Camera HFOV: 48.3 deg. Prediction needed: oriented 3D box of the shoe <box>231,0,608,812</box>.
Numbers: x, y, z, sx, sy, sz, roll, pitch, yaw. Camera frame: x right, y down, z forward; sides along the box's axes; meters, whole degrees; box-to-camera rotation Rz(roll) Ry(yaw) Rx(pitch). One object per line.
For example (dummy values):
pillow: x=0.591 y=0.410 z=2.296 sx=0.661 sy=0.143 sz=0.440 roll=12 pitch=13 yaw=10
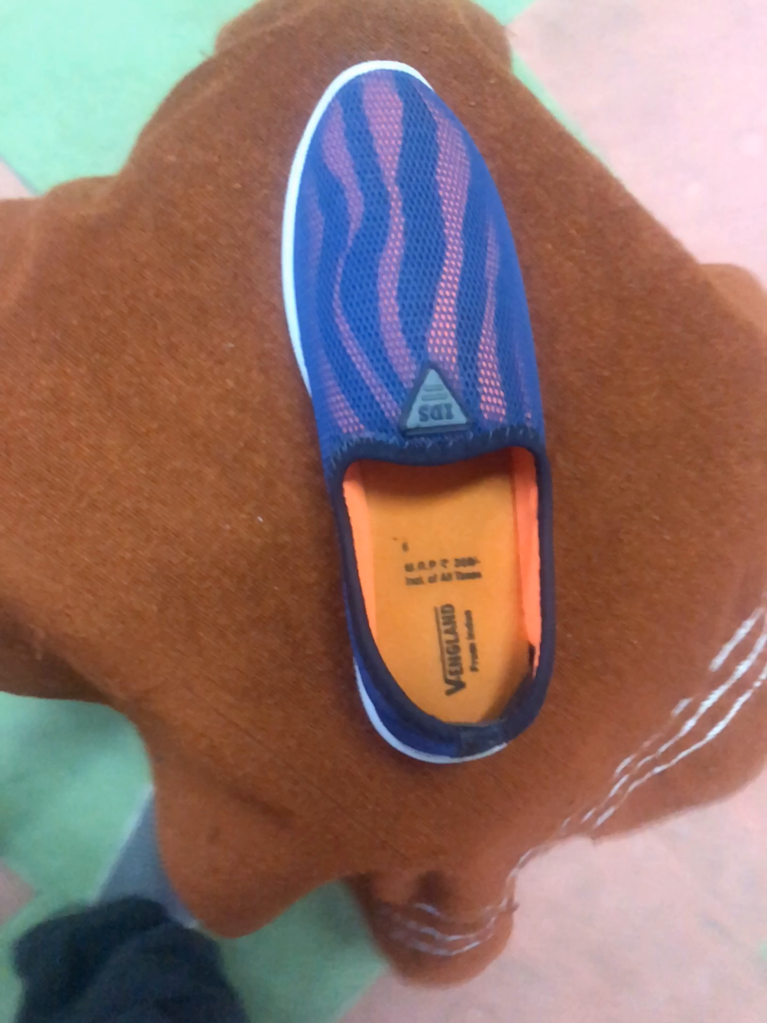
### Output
shoe: x=0.009 y=-0.041 z=0.304 sx=0.090 sy=0.070 sz=0.260 roll=-7 pitch=92 yaw=-9
